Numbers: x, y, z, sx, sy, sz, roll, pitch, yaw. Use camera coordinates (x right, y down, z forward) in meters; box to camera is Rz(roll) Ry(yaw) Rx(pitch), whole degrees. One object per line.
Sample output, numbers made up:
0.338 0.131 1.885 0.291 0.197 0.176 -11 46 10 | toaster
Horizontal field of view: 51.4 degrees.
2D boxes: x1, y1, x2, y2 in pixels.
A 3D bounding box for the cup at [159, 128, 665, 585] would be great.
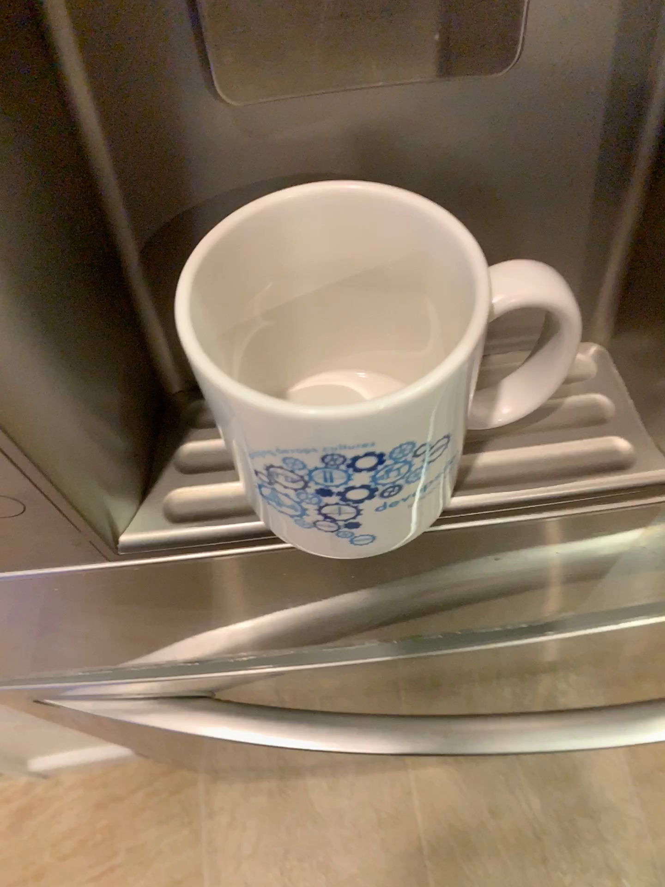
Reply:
0.020 -0.022 0.224 0.120 0.099 0.081 -13 60 -3 | cup
